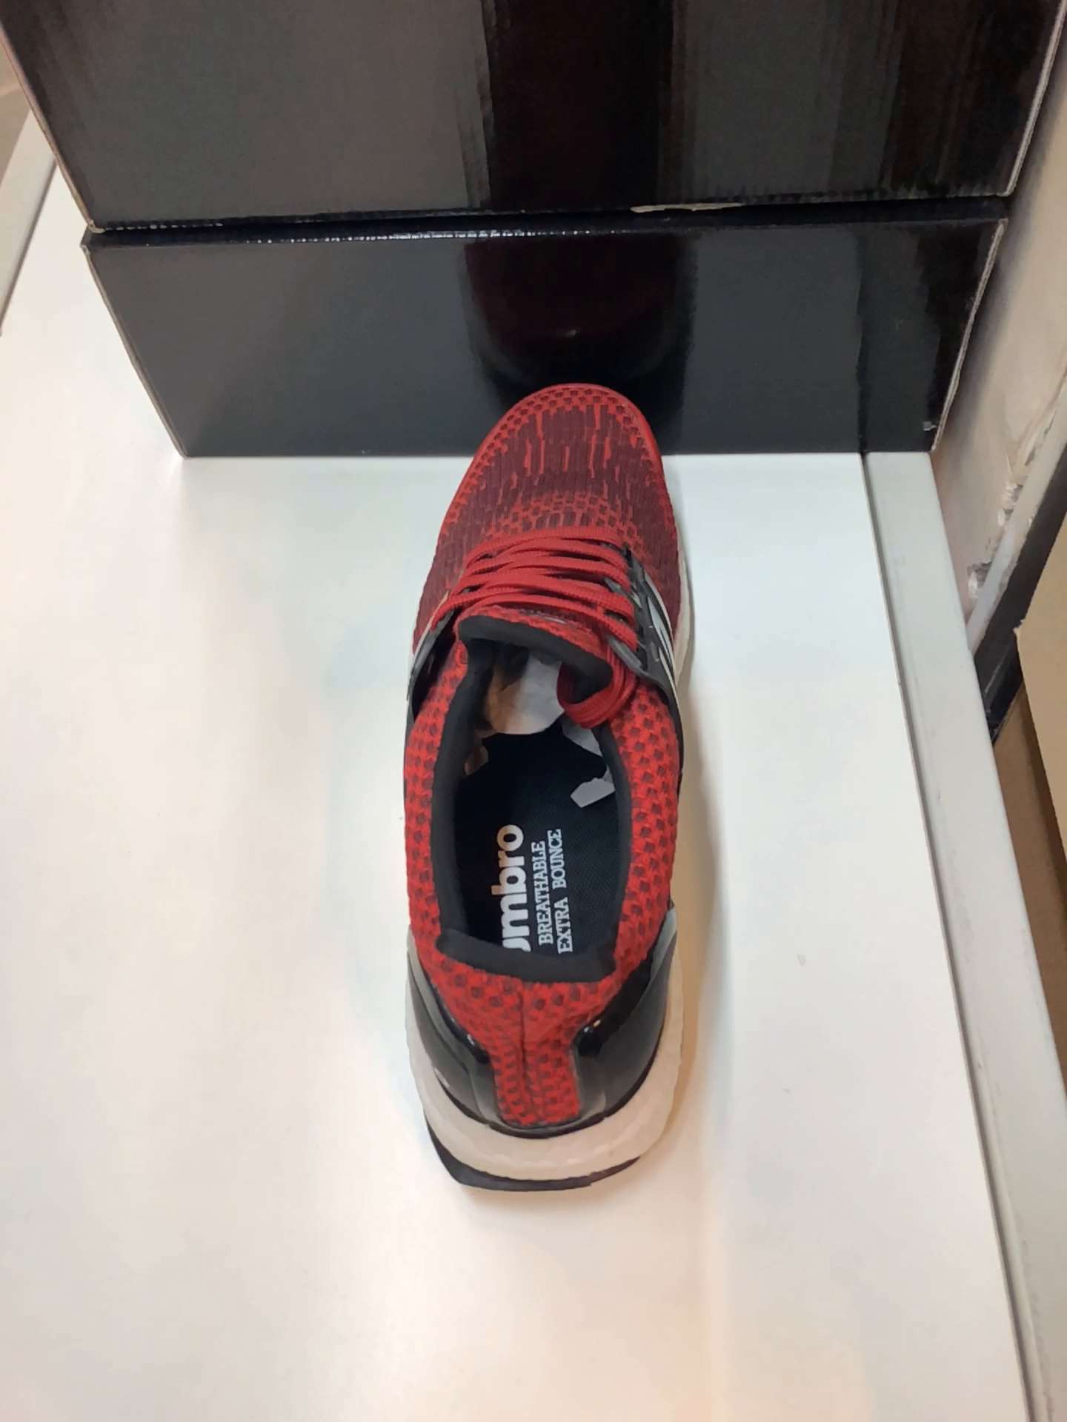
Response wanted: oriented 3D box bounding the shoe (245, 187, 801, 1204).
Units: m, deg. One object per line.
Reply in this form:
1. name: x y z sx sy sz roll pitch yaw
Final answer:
1. shoe: 0.004 -0.014 0.353 0.111 0.108 0.287 -1 60 4
